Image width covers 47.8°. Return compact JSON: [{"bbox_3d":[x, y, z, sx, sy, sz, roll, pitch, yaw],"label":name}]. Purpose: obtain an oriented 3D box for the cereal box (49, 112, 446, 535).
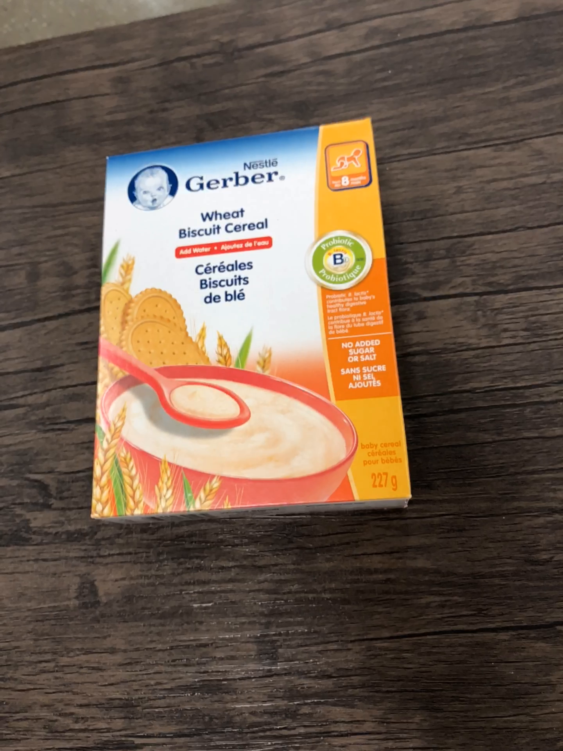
[{"bbox_3d":[-0.018,-0.023,0.297,0.160,0.040,0.180,-5,72,8],"label":"cereal box"}]
